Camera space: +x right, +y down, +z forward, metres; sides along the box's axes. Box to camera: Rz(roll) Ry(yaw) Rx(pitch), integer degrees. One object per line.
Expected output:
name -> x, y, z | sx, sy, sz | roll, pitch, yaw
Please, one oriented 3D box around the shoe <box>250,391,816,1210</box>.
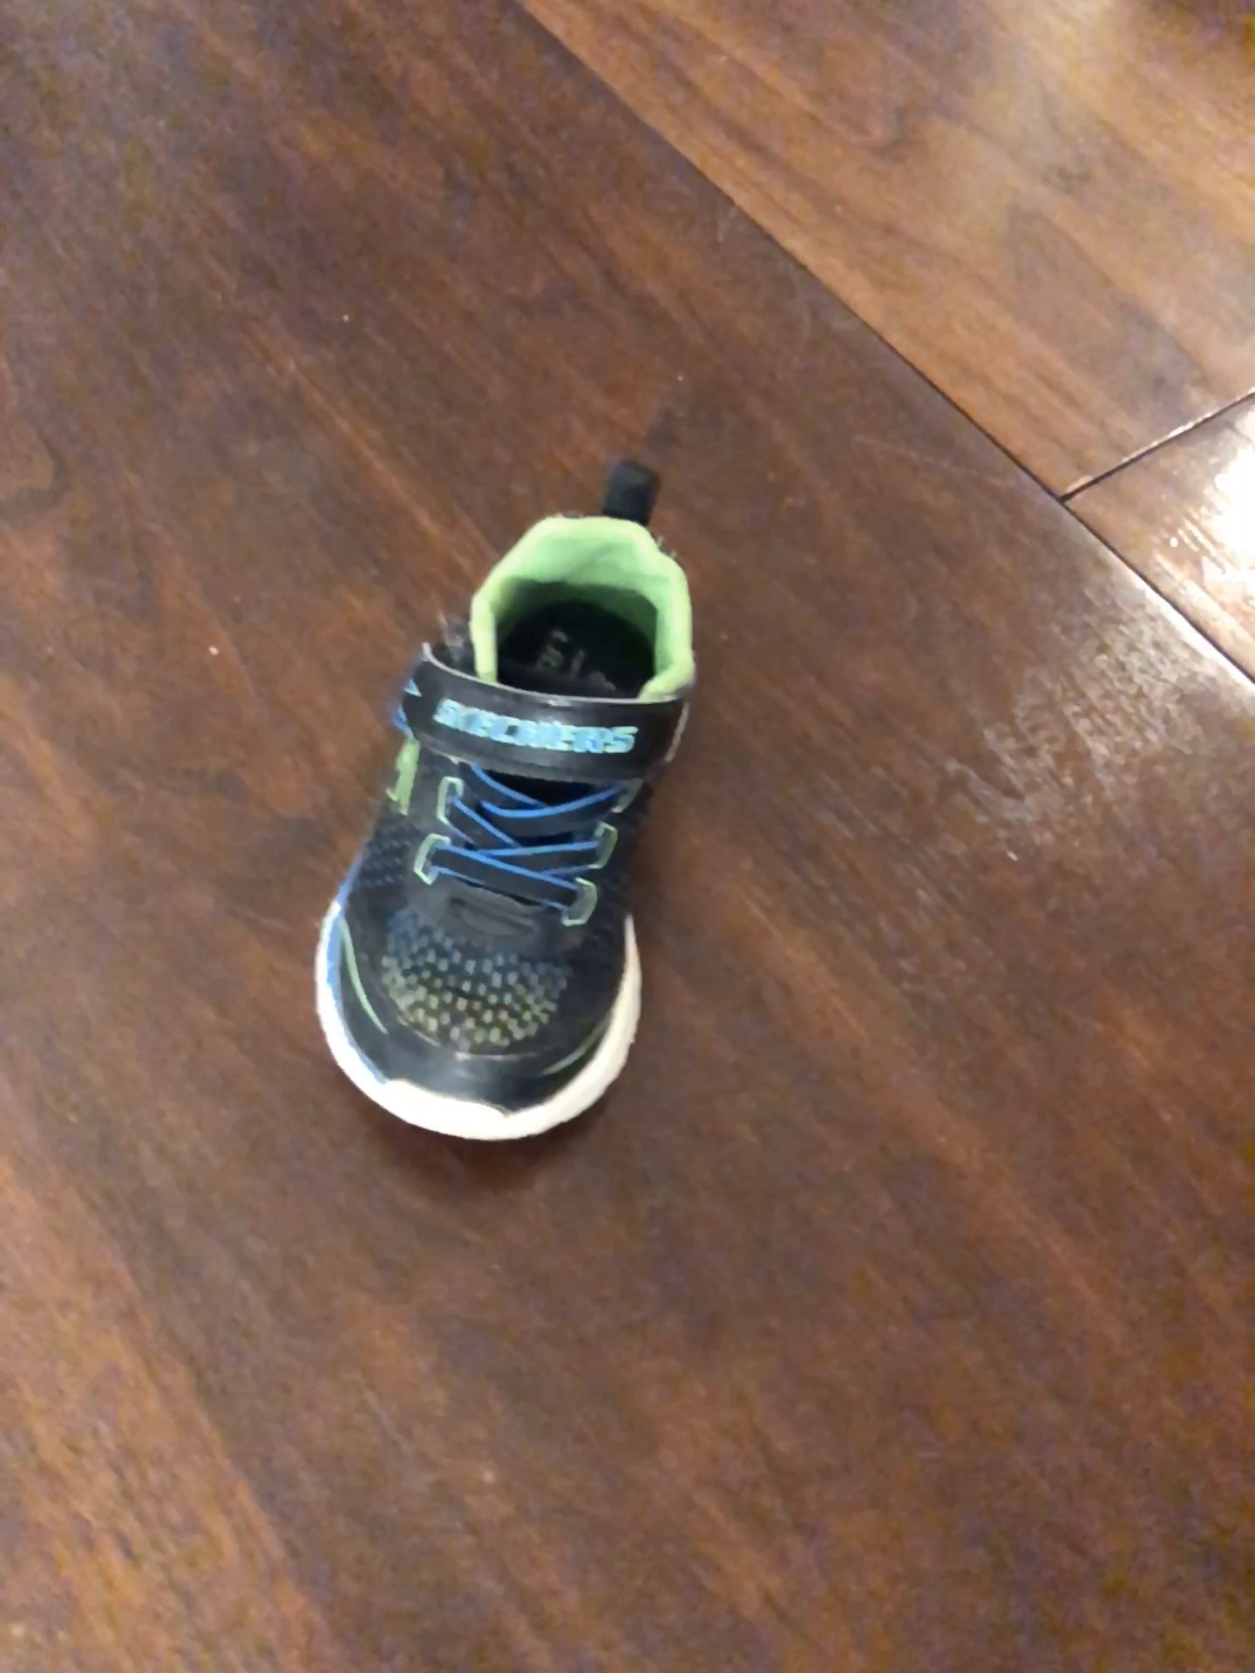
shoe -> -0.016, -0.012, 0.342 | 0.080, 0.080, 0.170 | 15, 59, 2
